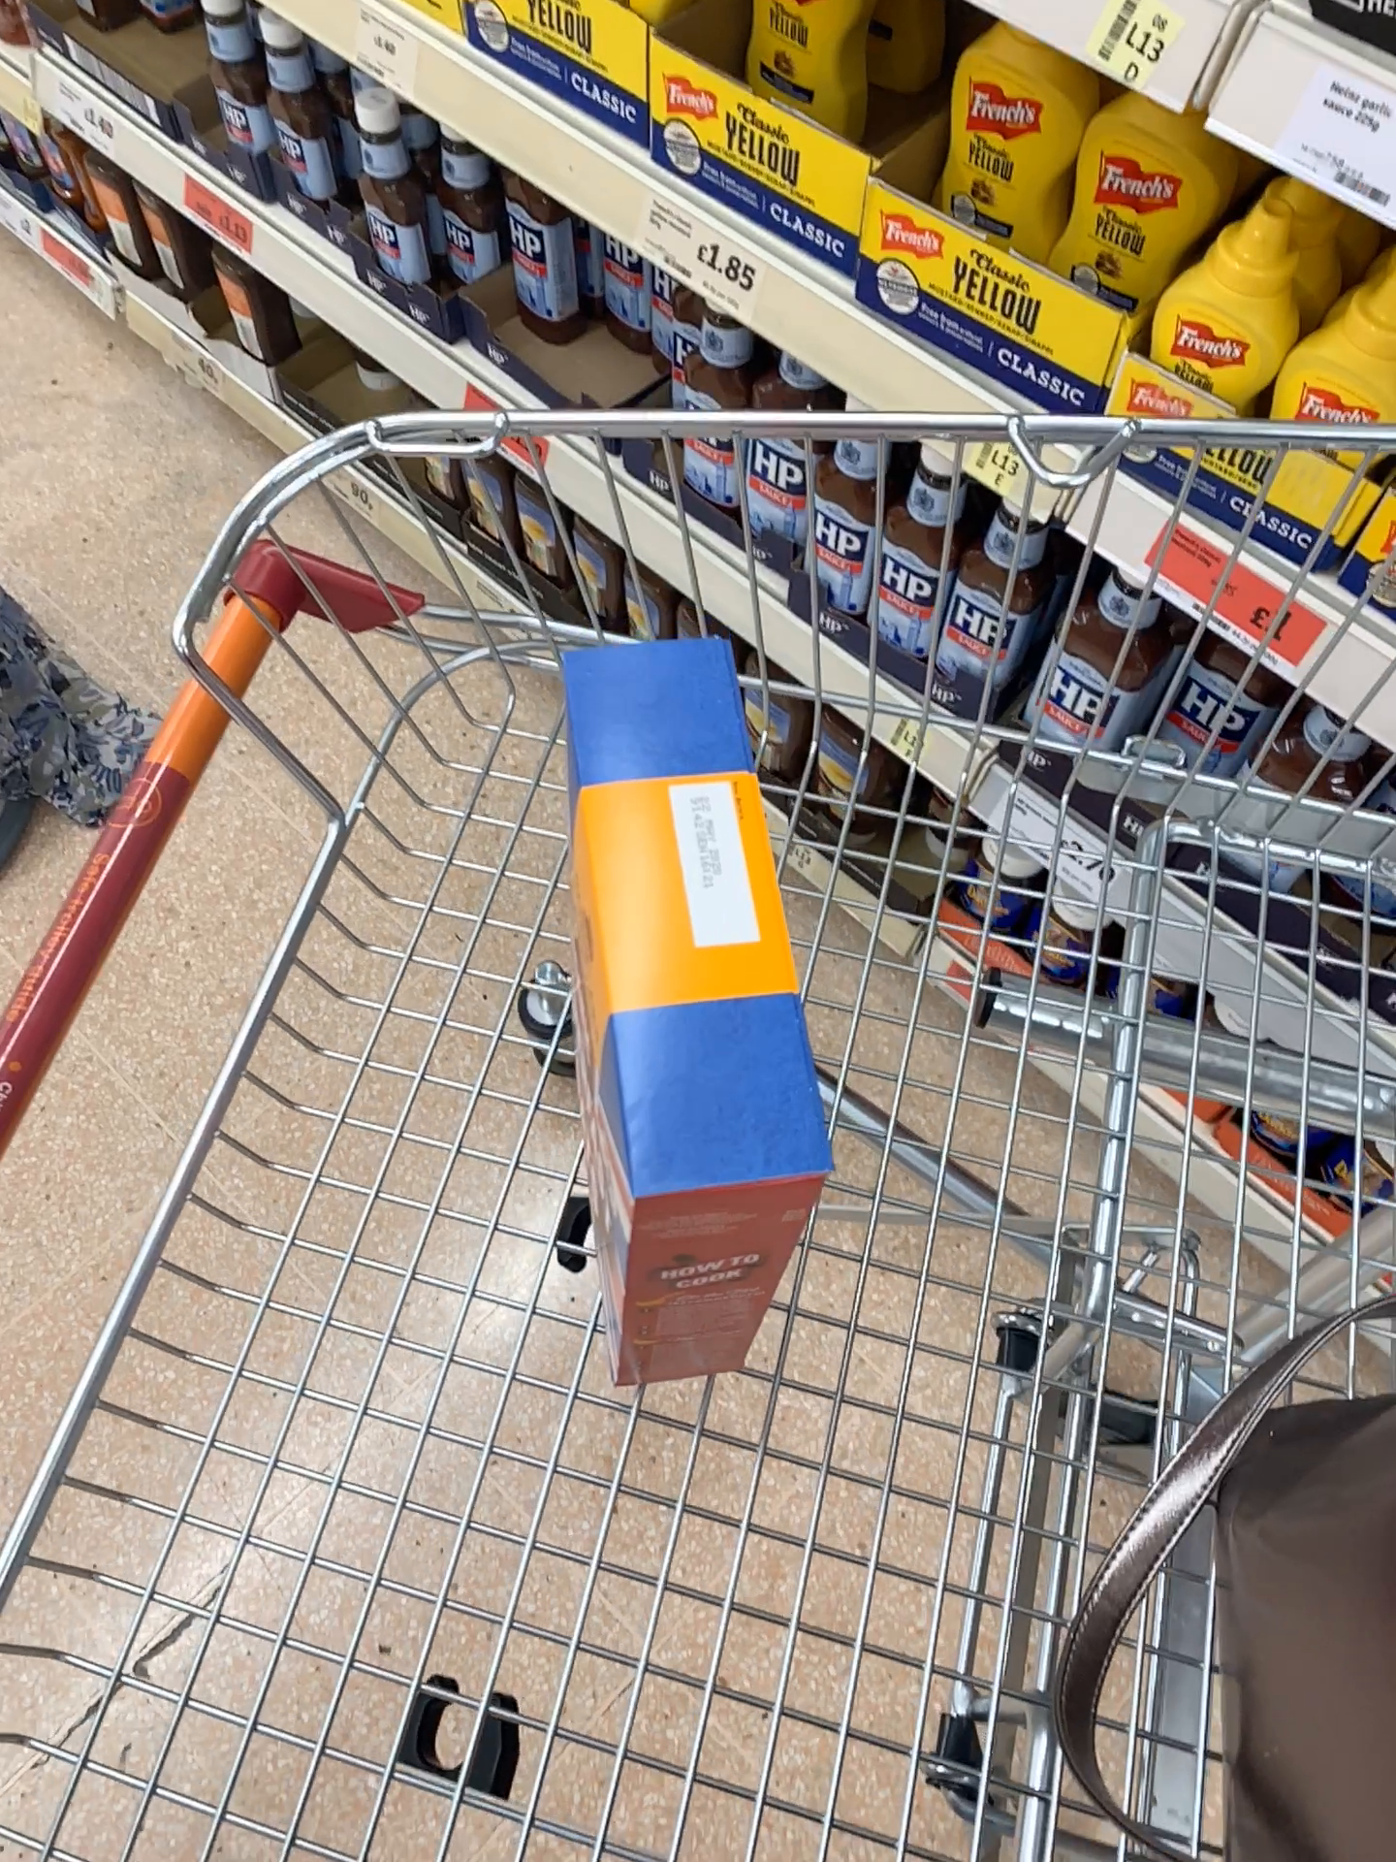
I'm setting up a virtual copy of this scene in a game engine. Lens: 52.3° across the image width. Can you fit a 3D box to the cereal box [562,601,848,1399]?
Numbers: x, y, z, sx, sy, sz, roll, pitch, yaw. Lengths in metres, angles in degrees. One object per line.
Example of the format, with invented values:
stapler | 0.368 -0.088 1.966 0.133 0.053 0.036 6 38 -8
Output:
cereal box | -0.011 0.043 0.496 0.050 0.258 0.181 -6 62 -7
